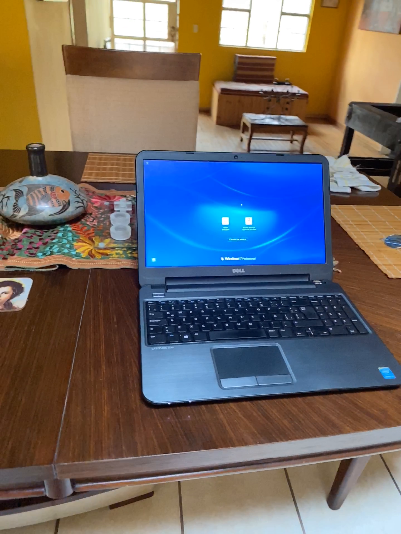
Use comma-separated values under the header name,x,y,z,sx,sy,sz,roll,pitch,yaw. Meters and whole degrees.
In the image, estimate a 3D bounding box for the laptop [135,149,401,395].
name,x,y,z,sx,sy,sz,roll,pitch,yaw
laptop,0.088,-0.030,0.667,0.367,0.194,0.397,-1,32,-11
